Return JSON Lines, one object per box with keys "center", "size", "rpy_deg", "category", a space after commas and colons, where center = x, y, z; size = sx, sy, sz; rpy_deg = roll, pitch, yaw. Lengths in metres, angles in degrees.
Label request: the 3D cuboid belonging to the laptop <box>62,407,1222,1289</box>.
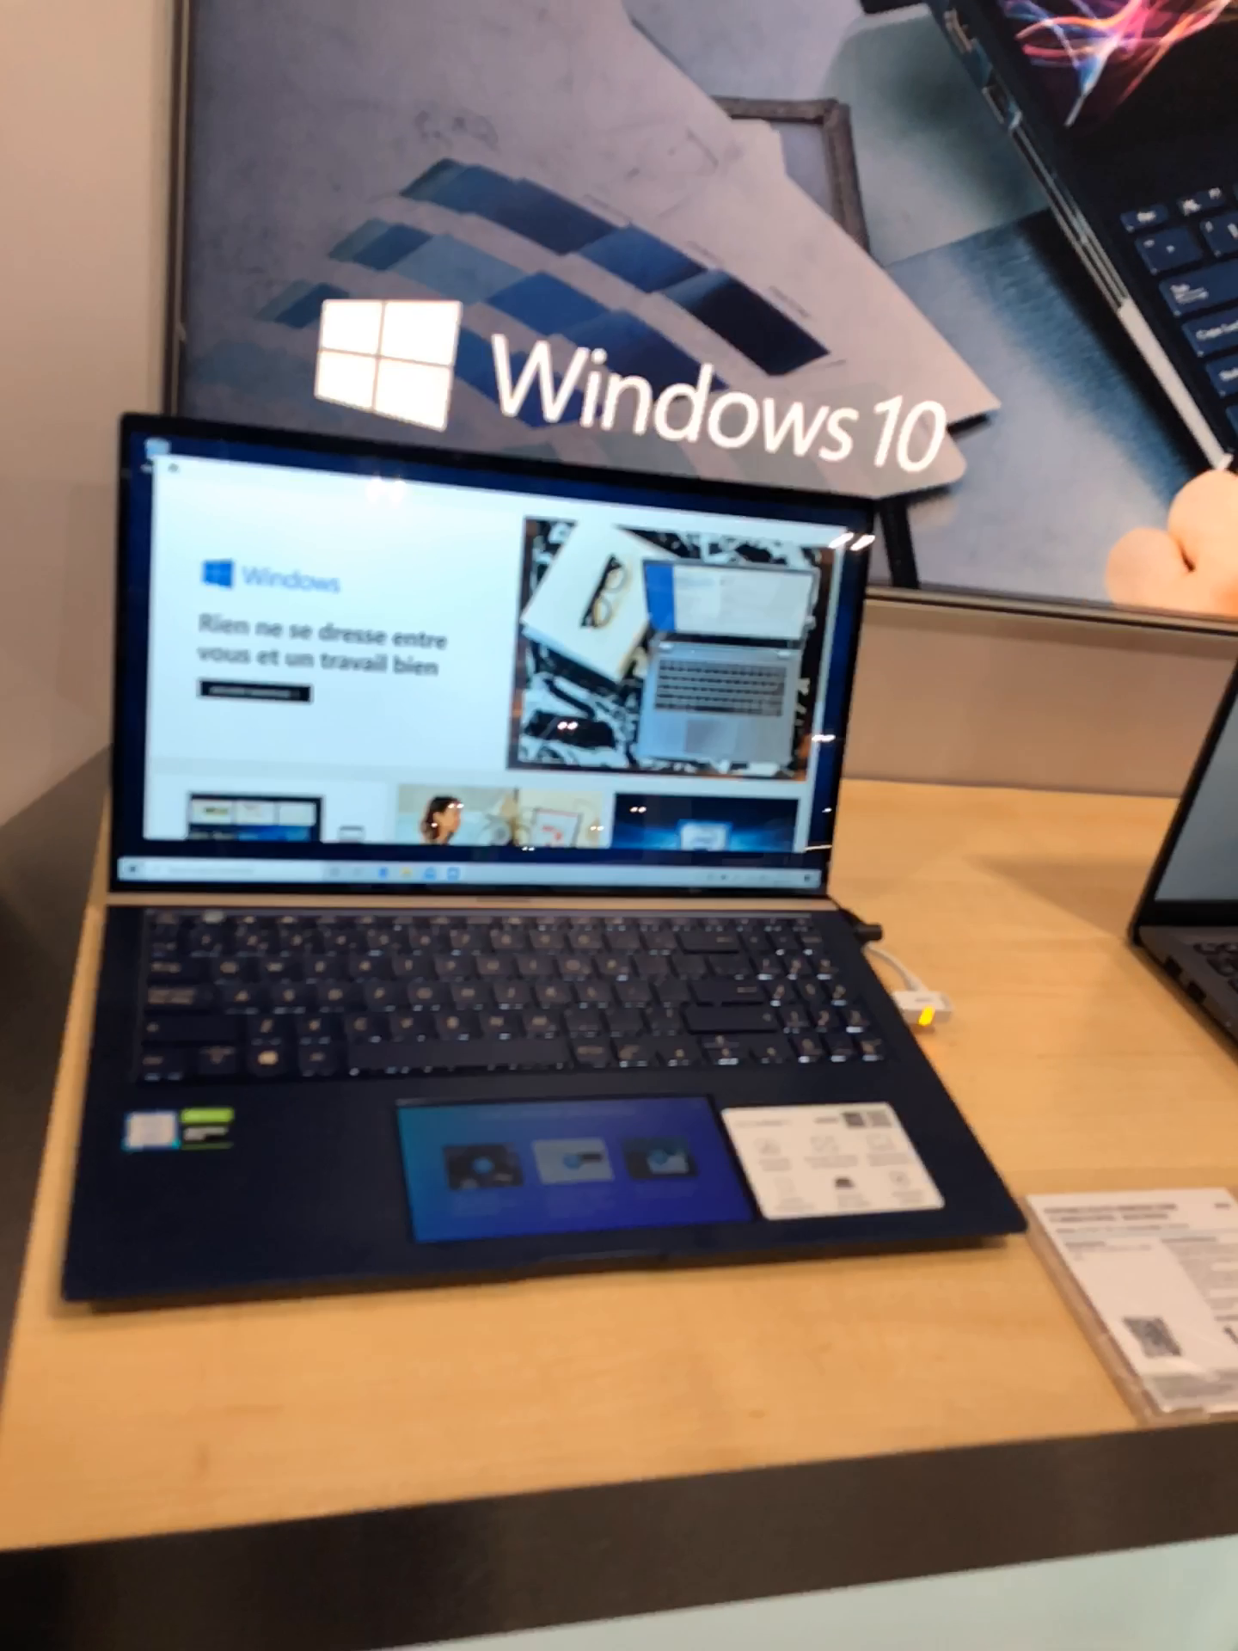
{"center": [-0.023, -0.007, 0.523], "size": [0.338, 0.183, 0.274], "rpy_deg": [2, 32, -18], "category": "laptop"}
